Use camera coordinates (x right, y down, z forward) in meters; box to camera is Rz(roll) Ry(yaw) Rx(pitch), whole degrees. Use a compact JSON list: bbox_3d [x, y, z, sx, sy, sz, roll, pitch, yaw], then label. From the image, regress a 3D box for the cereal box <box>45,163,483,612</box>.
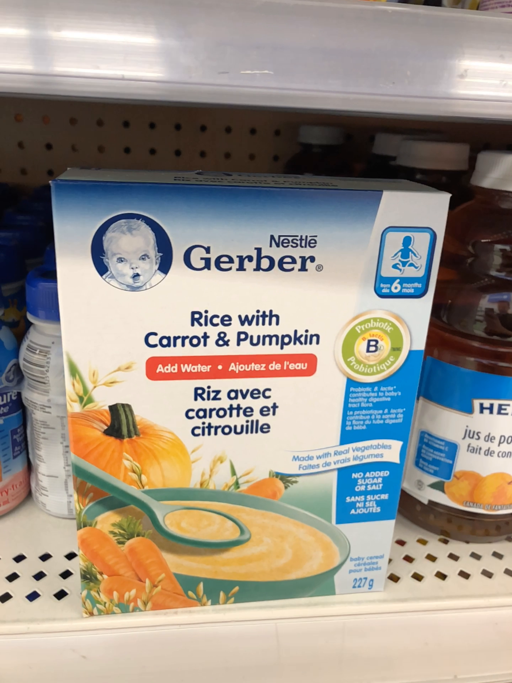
[{"bbox_3d":[-0.002,0.022,0.247,0.150,0.179,0.050,0,22,-11],"label":"cereal box"}]
